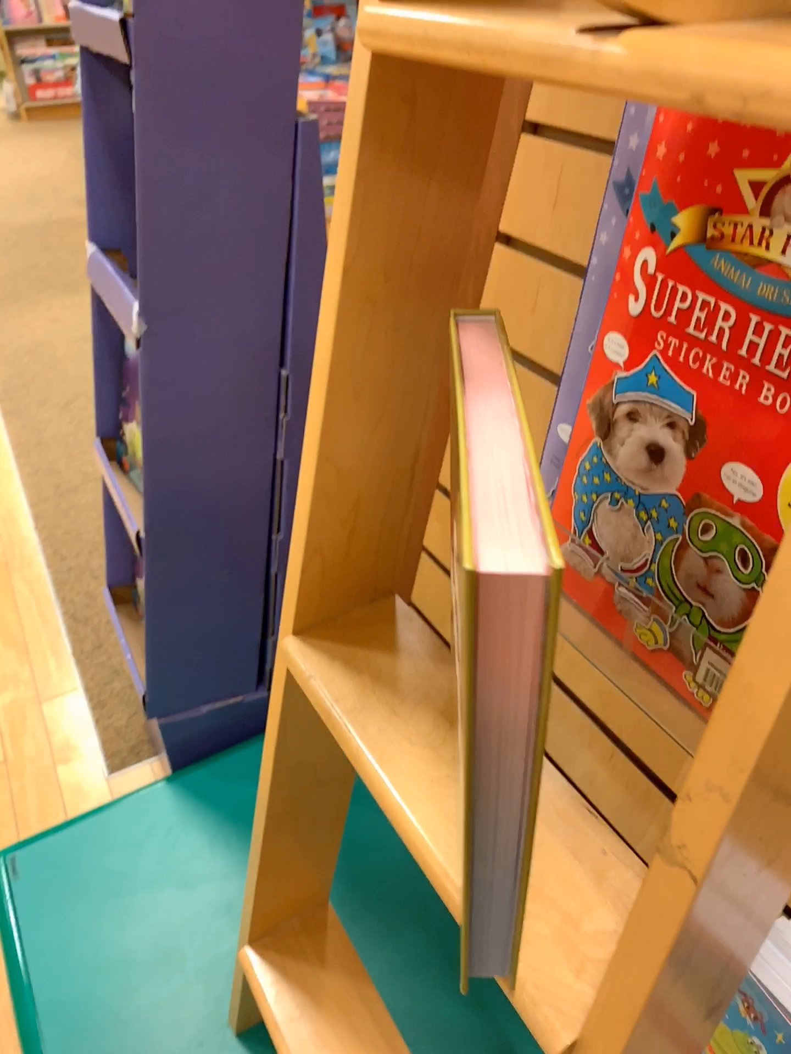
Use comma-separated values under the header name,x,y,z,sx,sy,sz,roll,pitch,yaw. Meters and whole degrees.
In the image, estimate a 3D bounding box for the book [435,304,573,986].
name,x,y,z,sx,sy,sz,roll,pitch,yaw
book,0.034,0.046,0.343,0.030,0.219,0.181,-1,36,2
